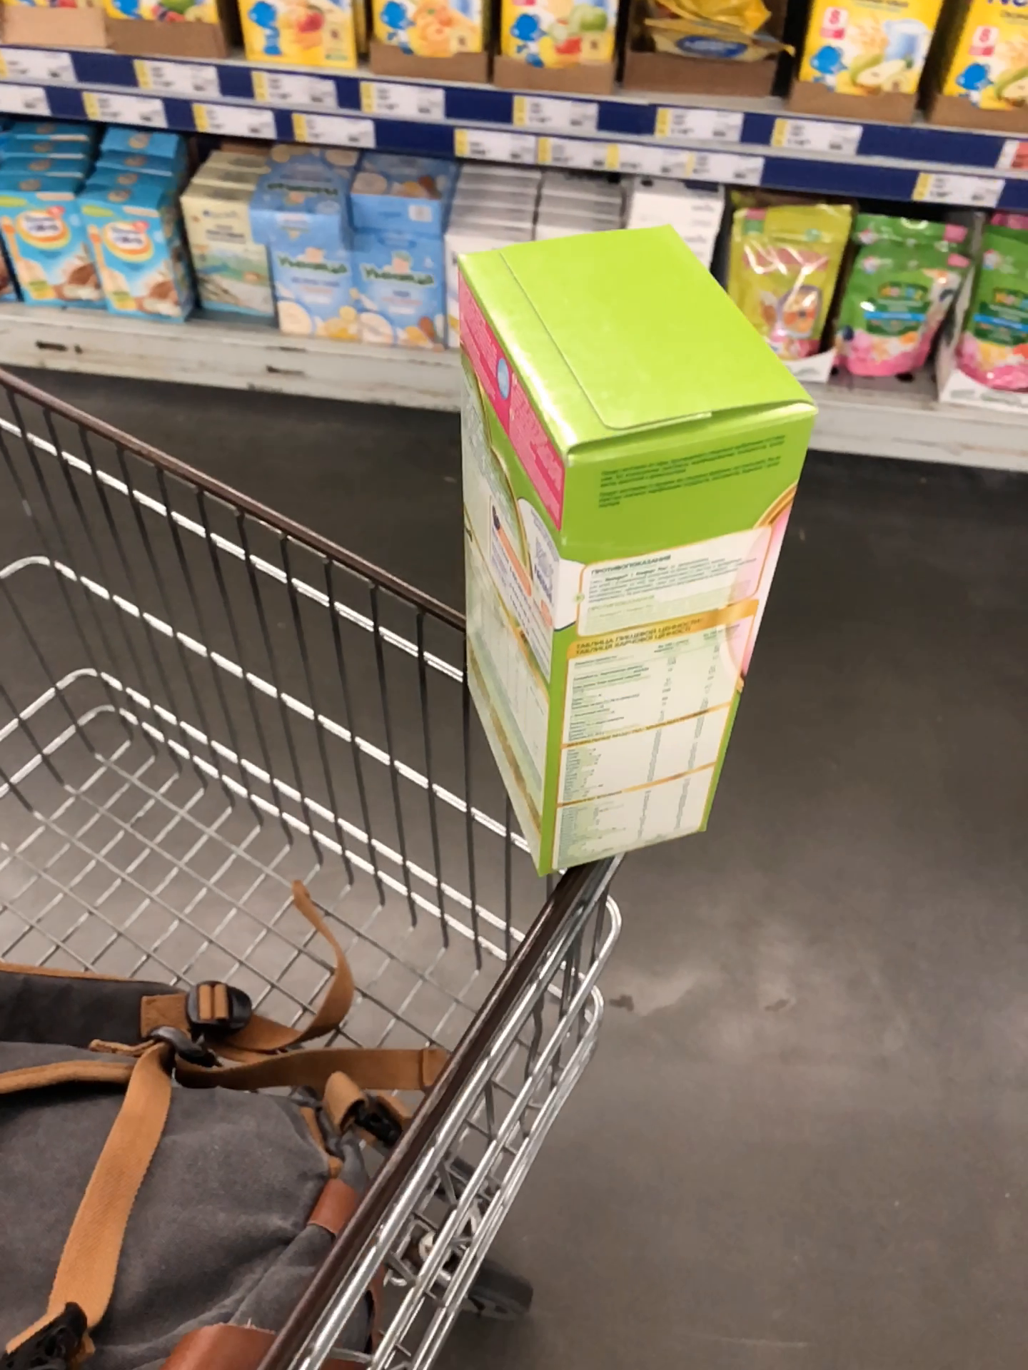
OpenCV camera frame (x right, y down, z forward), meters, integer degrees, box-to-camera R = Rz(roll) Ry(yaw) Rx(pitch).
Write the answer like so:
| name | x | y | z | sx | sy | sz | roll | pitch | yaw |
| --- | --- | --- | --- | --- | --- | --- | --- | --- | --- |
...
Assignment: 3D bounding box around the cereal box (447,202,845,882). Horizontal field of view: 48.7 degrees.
| name | x | y | z | sx | sy | sz | roll | pitch | yaw |
| --- | --- | --- | --- | --- | --- | --- | --- | --- | --- |
| cereal box | 0.029 | -0.036 | 0.368 | 0.070 | 0.189 | 0.100 | -14 | 51 | -13 |
